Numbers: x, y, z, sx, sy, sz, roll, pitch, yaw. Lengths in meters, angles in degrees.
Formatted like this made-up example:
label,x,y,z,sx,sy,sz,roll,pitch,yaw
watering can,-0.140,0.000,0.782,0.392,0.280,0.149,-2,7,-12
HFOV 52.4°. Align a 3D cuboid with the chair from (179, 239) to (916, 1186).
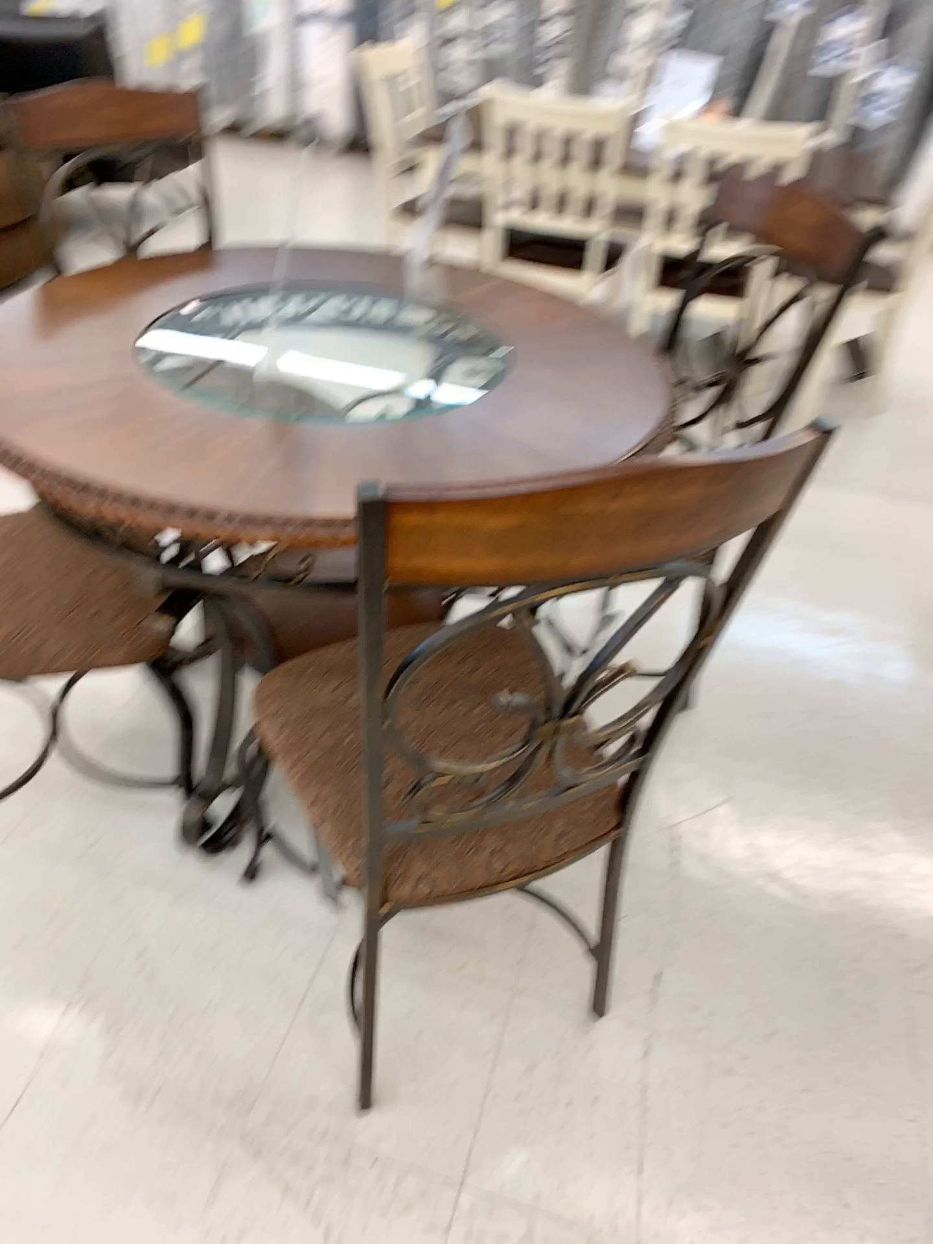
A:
label,x,y,z,sx,sy,sz,roll,pitch,yaw
chair,-0.008,0.107,1.209,0.521,0.975,0.582,-10,39,-20
